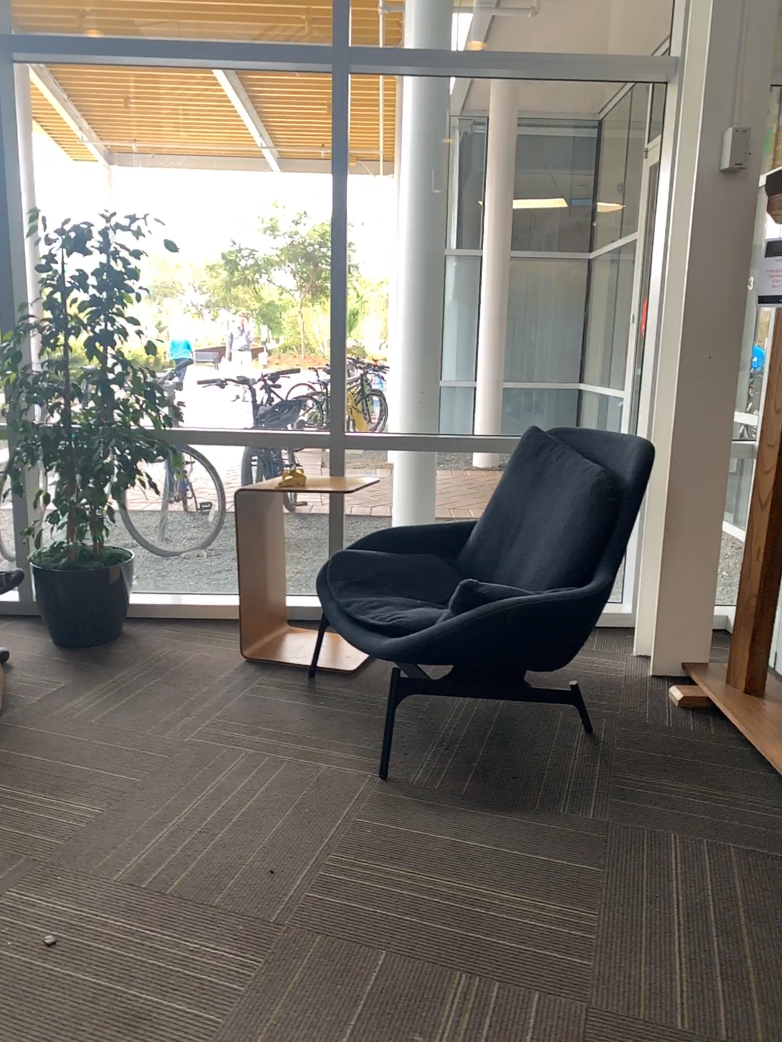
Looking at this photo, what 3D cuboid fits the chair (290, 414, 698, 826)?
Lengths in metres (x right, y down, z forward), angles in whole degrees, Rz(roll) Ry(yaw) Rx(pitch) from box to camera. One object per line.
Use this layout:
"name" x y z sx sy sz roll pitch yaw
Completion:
"chair" 0.249 0.195 2.576 0.940 0.997 0.903 -3 12 -22
